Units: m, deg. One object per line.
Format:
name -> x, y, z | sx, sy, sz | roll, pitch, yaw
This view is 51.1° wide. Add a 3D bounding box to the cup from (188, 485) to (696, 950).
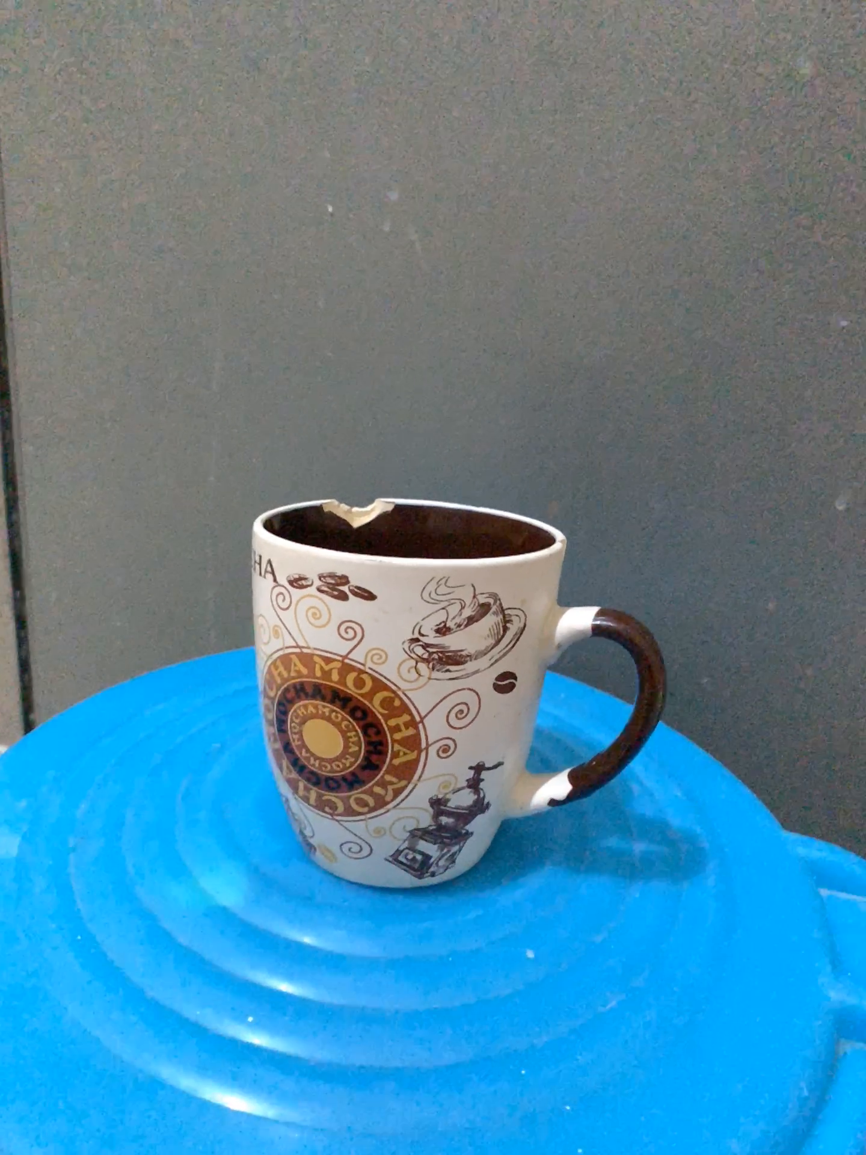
cup -> 0.004, 0.028, 0.235 | 0.109, 0.083, 0.071 | 7, 15, 10
